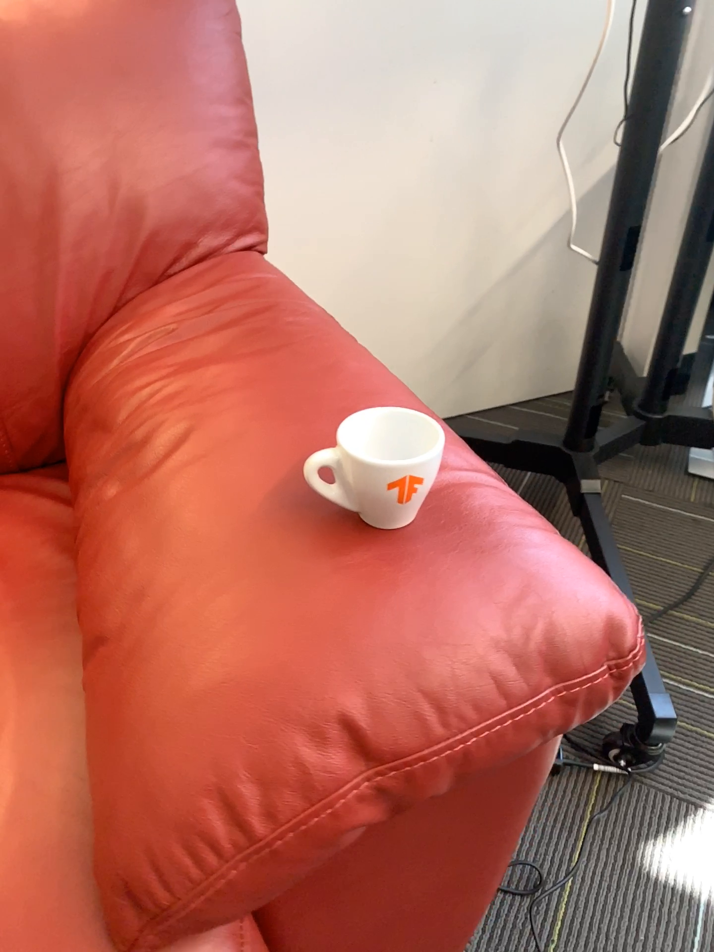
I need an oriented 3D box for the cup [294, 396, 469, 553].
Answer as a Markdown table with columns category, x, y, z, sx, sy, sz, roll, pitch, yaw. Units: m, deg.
| category | x | y | z | sx | sy | sz | roll | pitch | yaw |
| --- | --- | --- | --- | --- | --- | --- | --- | --- | --- |
| cup | 0.012 | -0.002 | 0.437 | 0.090 | 0.060 | 0.060 | -6 | 38 | -6 |
